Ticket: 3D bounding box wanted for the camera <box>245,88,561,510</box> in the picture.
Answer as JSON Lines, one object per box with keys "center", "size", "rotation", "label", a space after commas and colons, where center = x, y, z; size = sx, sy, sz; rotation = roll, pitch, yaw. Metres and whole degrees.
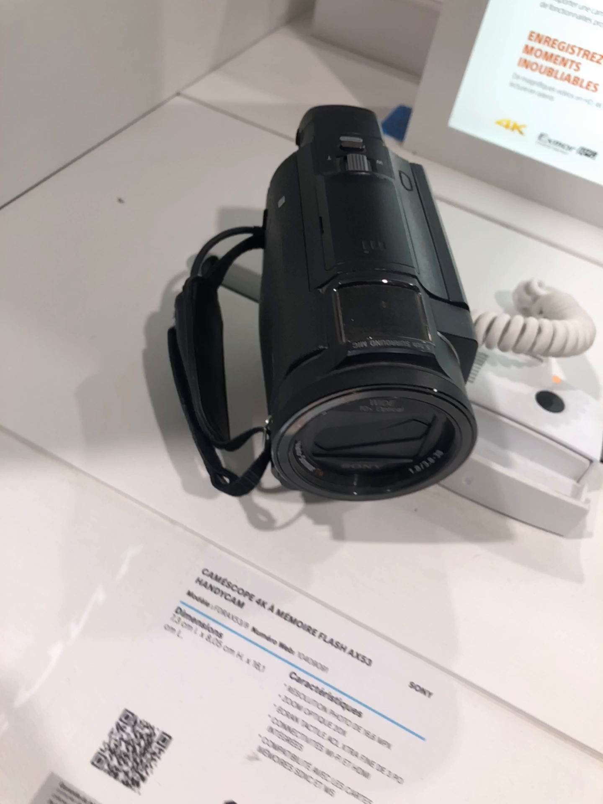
{"center": [0.022, -0.043, 0.250], "size": [0.073, 0.070, 0.149], "rotation": [1, 49, -10], "label": "camera"}
